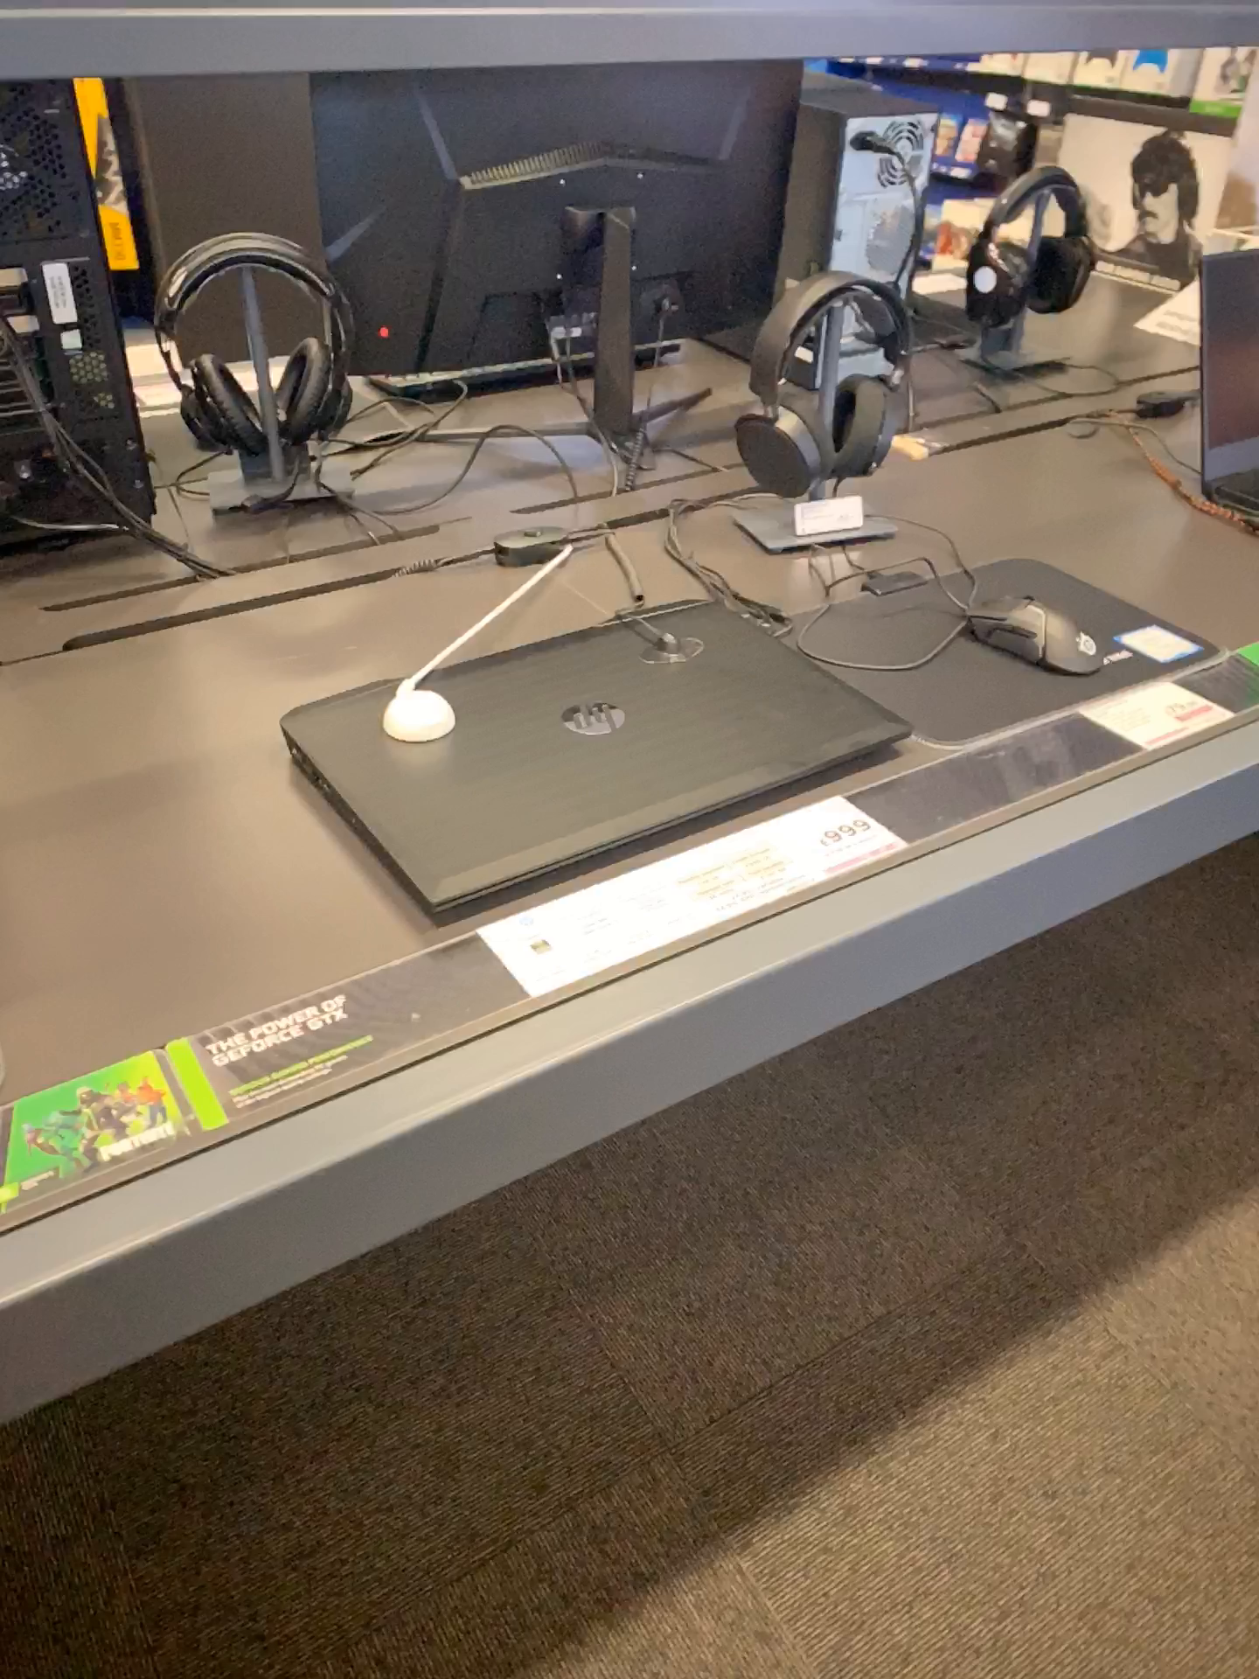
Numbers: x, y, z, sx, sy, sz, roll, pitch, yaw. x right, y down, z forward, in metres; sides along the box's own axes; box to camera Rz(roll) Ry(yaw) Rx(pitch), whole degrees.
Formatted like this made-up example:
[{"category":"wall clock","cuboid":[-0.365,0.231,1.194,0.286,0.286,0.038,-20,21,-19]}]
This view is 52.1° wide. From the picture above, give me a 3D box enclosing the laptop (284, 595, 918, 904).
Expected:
[{"category":"laptop","cuboid":[-0.021,-0.088,0.953,0.395,0.001,0.257,-21,41,-27]}]
